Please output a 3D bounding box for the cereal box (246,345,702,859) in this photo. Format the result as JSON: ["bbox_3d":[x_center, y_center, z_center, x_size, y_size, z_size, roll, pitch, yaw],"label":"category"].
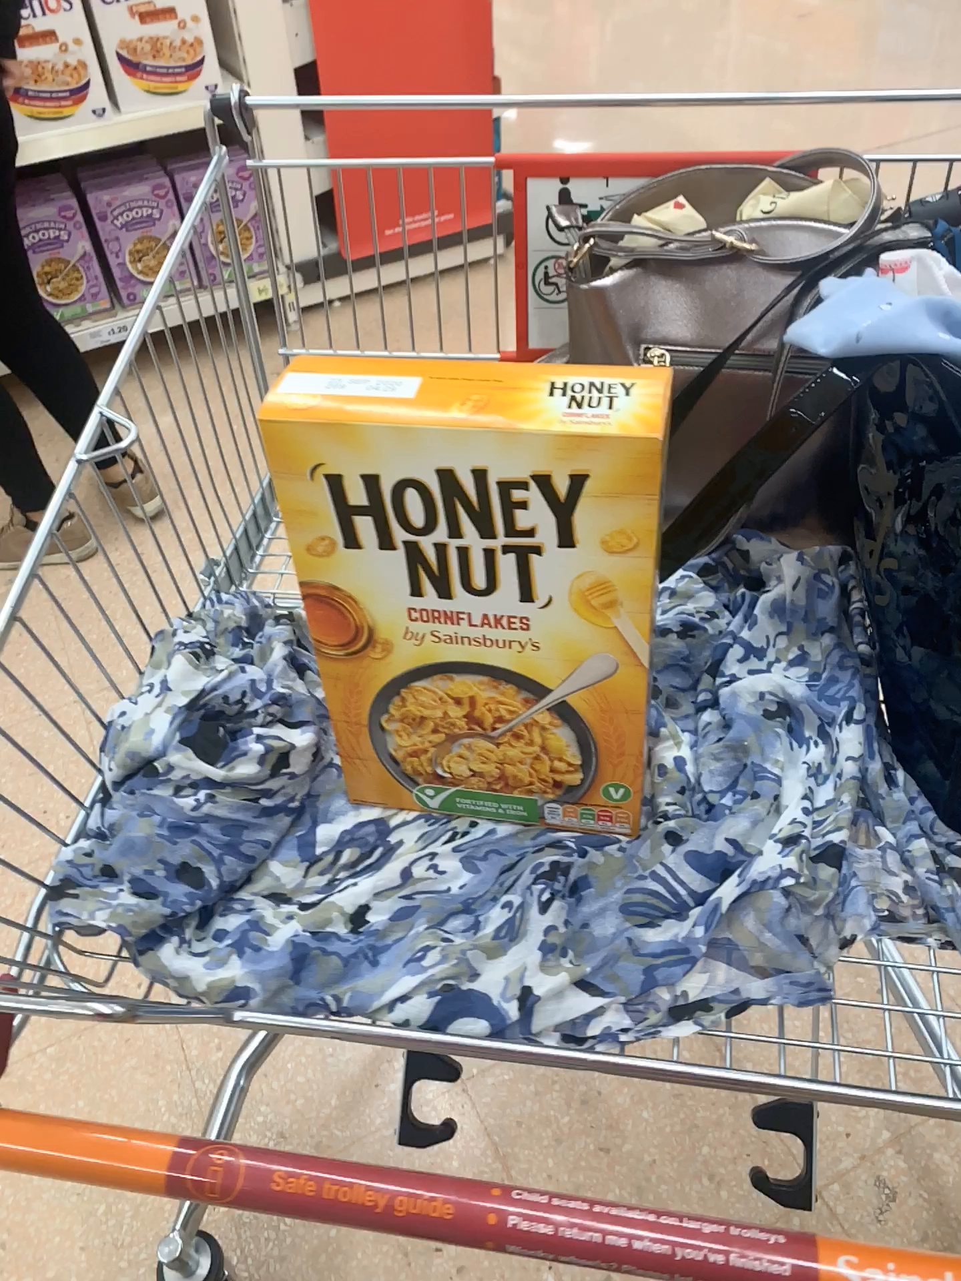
[{"bbox_3d":[0.008,-0.010,0.573,0.210,0.297,0.081,5,41,11],"label":"cereal box"}]
